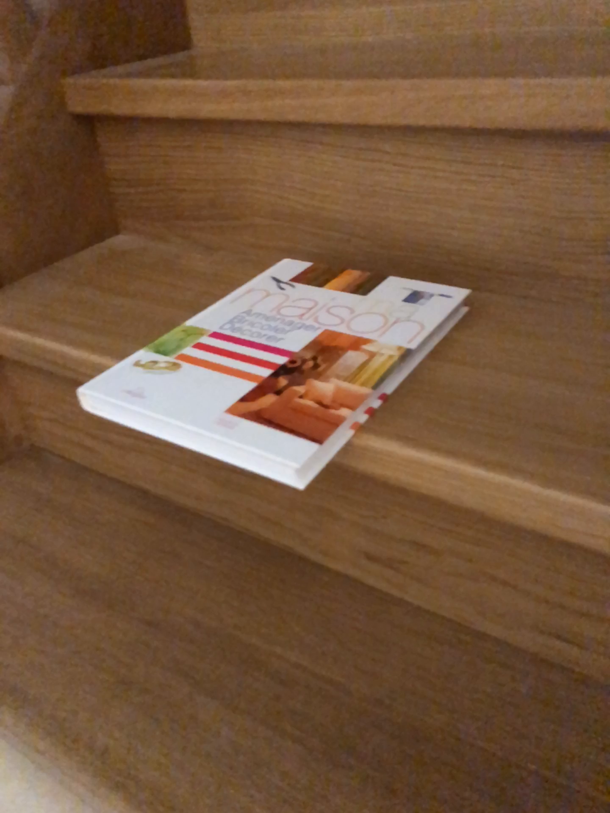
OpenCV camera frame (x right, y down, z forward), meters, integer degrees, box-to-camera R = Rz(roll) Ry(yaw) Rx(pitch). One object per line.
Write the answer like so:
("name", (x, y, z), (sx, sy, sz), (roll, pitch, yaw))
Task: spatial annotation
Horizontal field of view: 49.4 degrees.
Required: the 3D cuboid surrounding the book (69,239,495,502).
("book", (-0.001, -0.059, 0.549), (0.210, 0.030, 0.312), (16, 40, 30))
